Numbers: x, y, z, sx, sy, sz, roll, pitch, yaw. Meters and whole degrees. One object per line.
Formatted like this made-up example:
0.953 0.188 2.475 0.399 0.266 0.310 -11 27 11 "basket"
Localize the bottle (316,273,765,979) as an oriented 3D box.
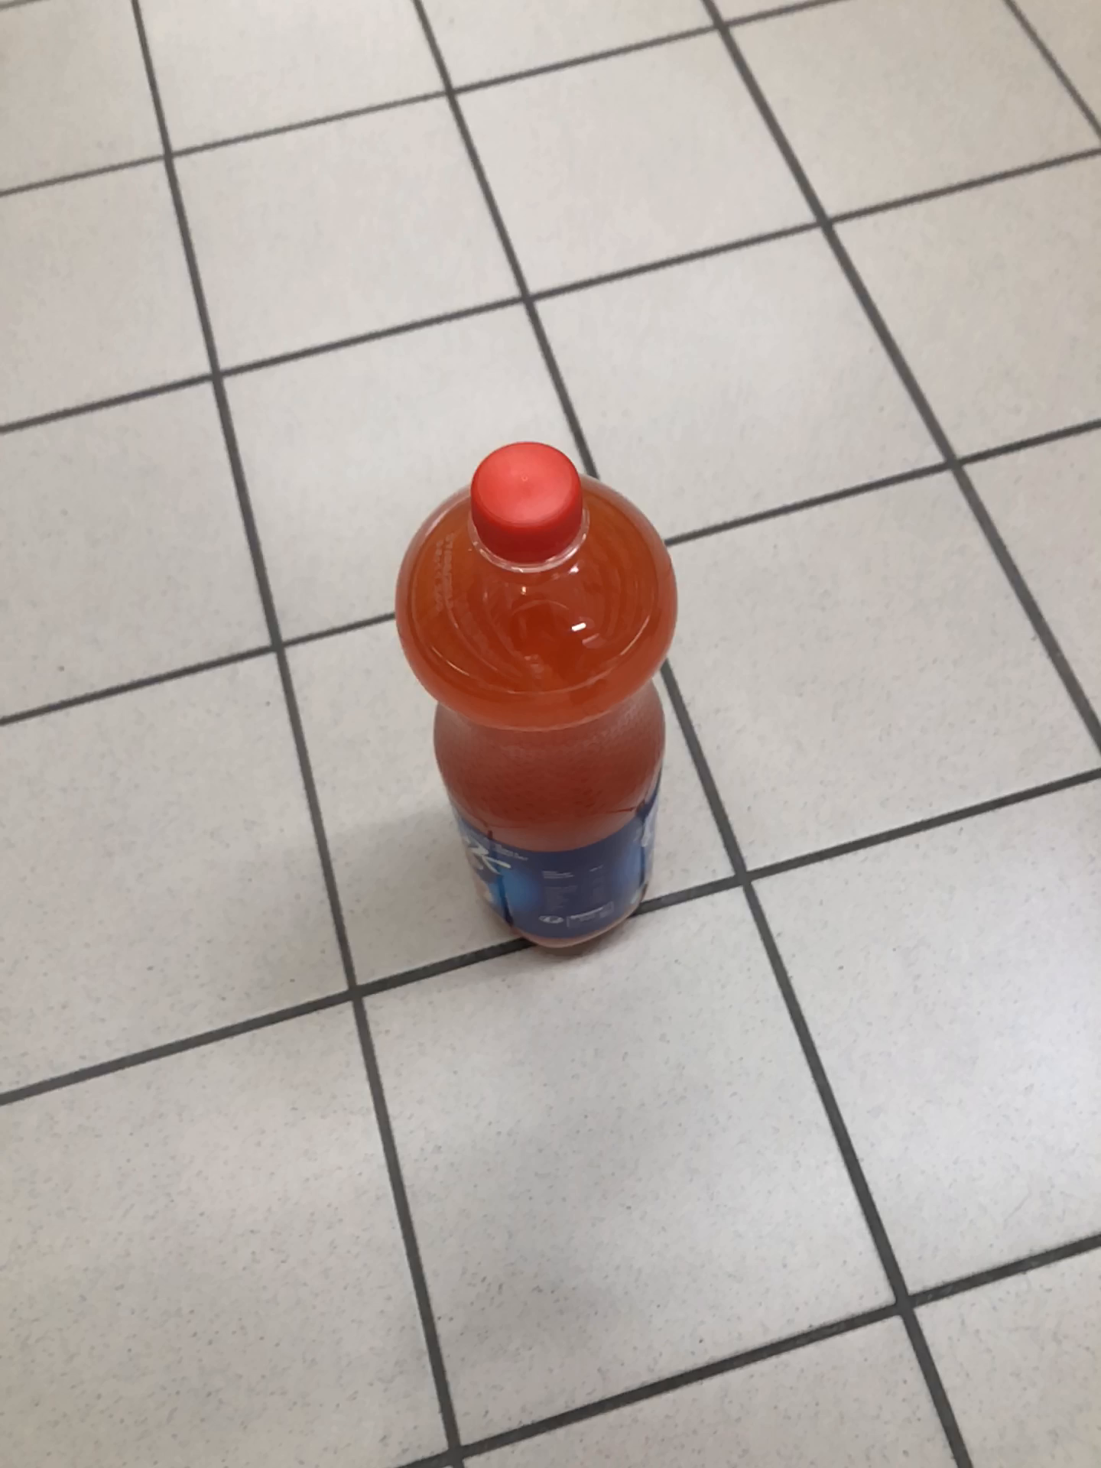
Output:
0.000 -0.008 0.462 0.100 0.309 0.110 -11 65 -2 "bottle"
